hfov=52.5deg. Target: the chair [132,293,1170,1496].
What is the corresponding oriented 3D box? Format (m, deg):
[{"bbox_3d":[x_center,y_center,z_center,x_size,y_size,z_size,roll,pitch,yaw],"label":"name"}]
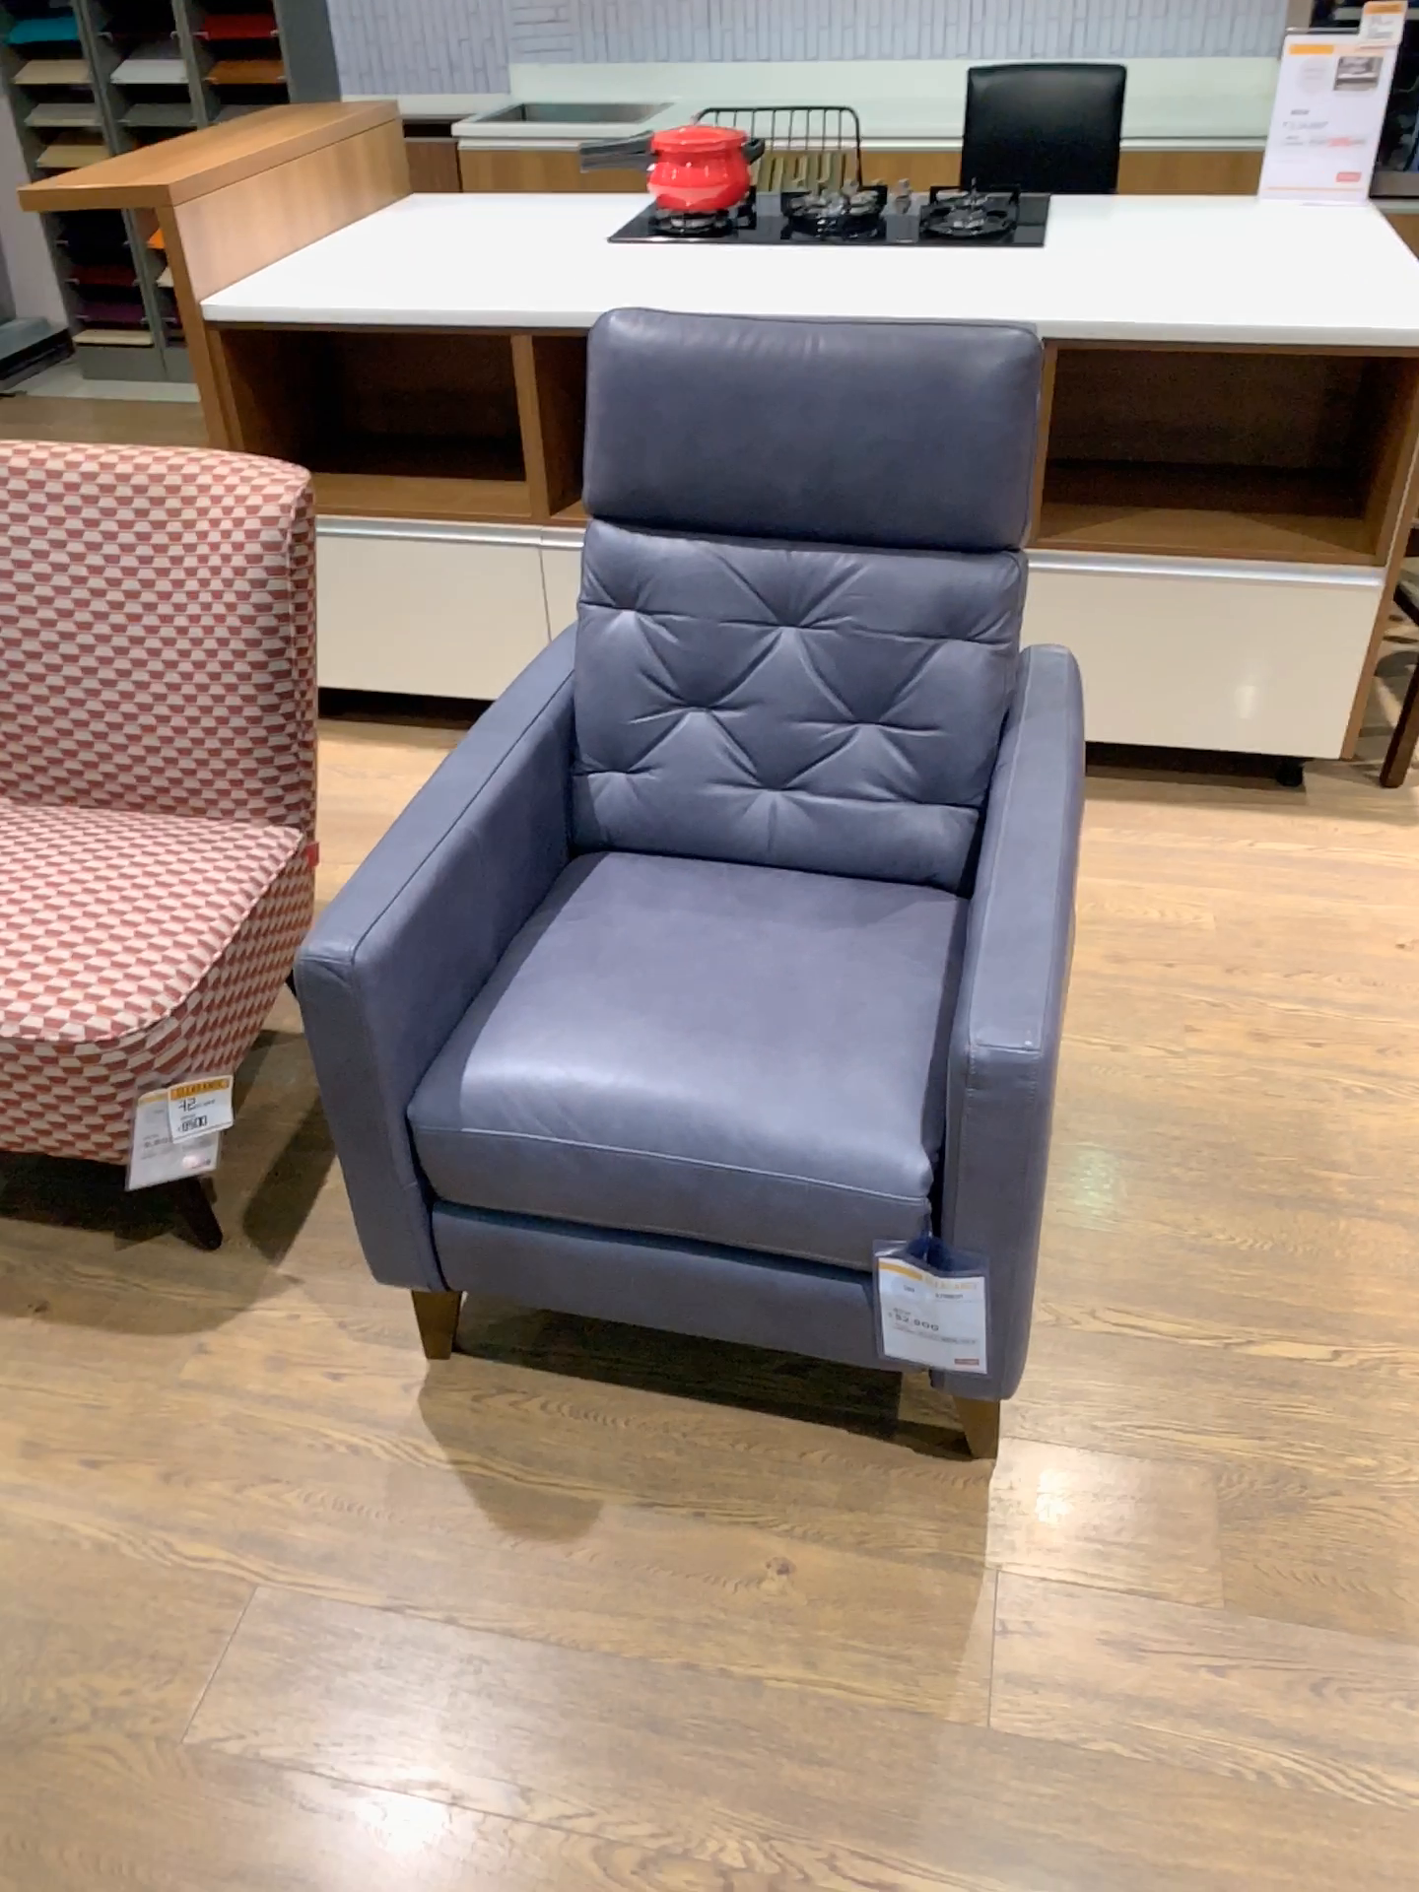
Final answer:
[{"bbox_3d":[0.048,-0.109,1.652,0.770,0.996,0.853,7,37,12],"label":"chair"}]
